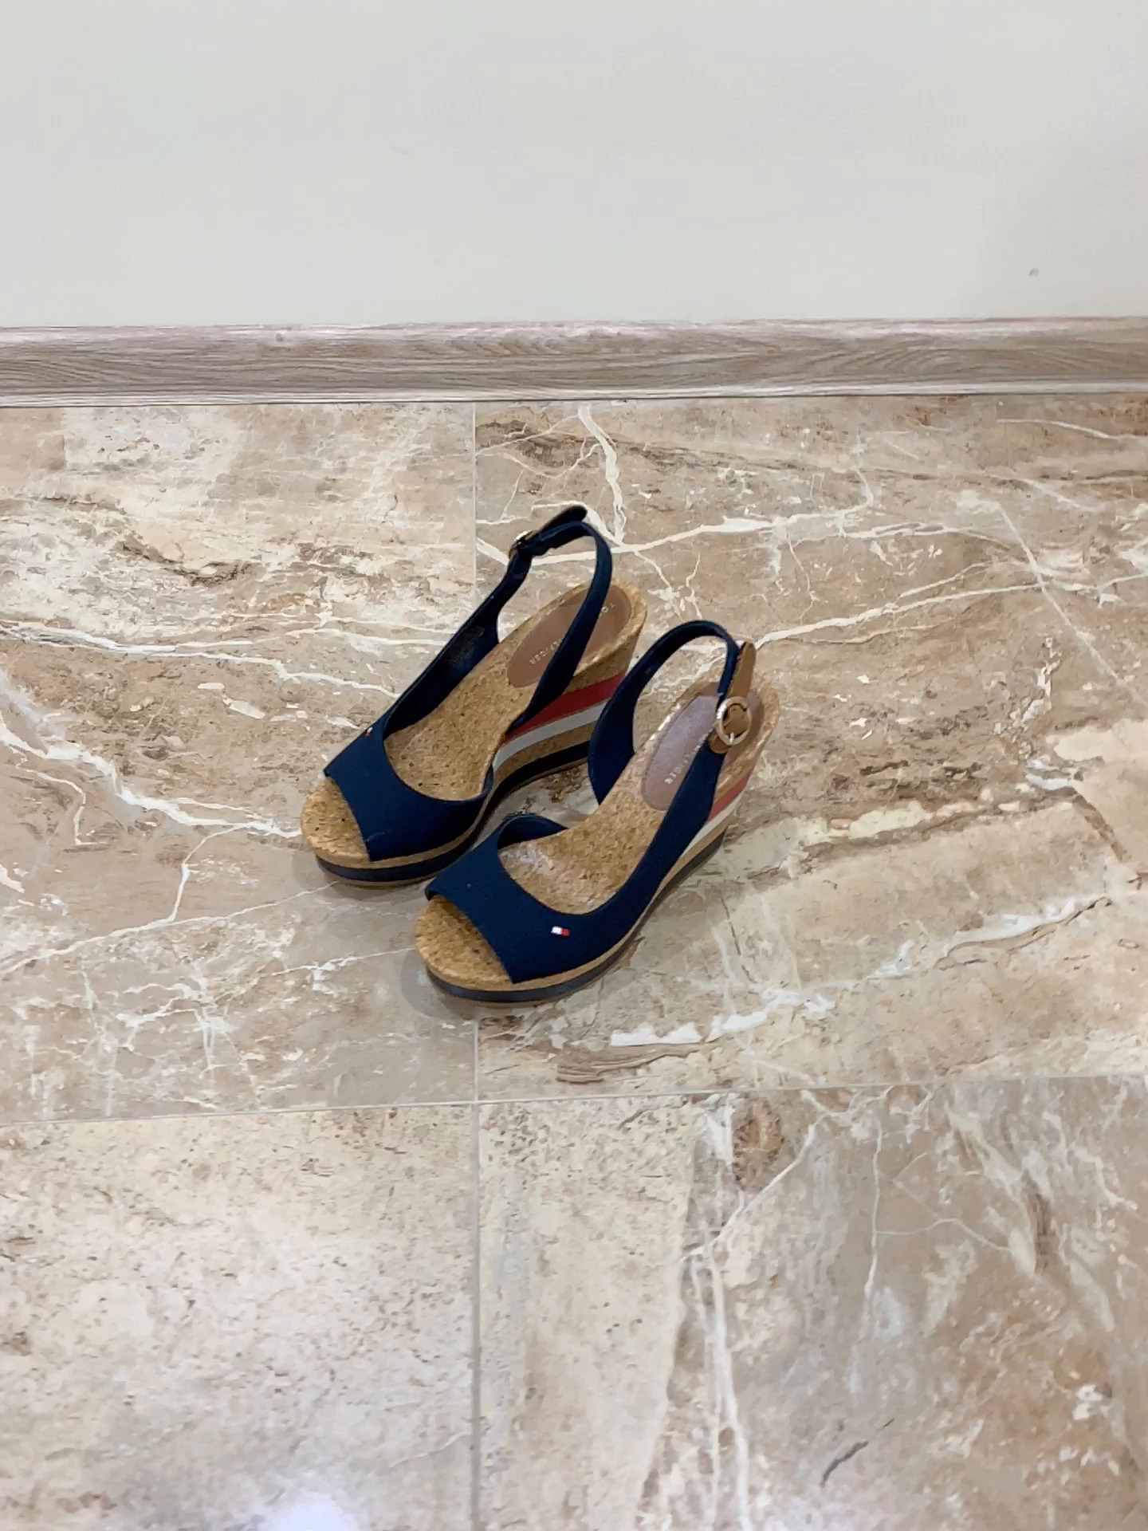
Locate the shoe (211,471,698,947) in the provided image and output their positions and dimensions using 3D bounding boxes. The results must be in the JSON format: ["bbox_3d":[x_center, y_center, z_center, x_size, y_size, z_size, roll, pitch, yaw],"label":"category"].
[{"bbox_3d":[-0.053,-0.031,0.600,0.210,0.145,0.090,-30,58,-24],"label":"shoe"}]

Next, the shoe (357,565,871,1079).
[{"bbox_3d":[0.020,0.025,0.559,0.210,0.145,0.090,-30,58,-24],"label":"shoe"}]
